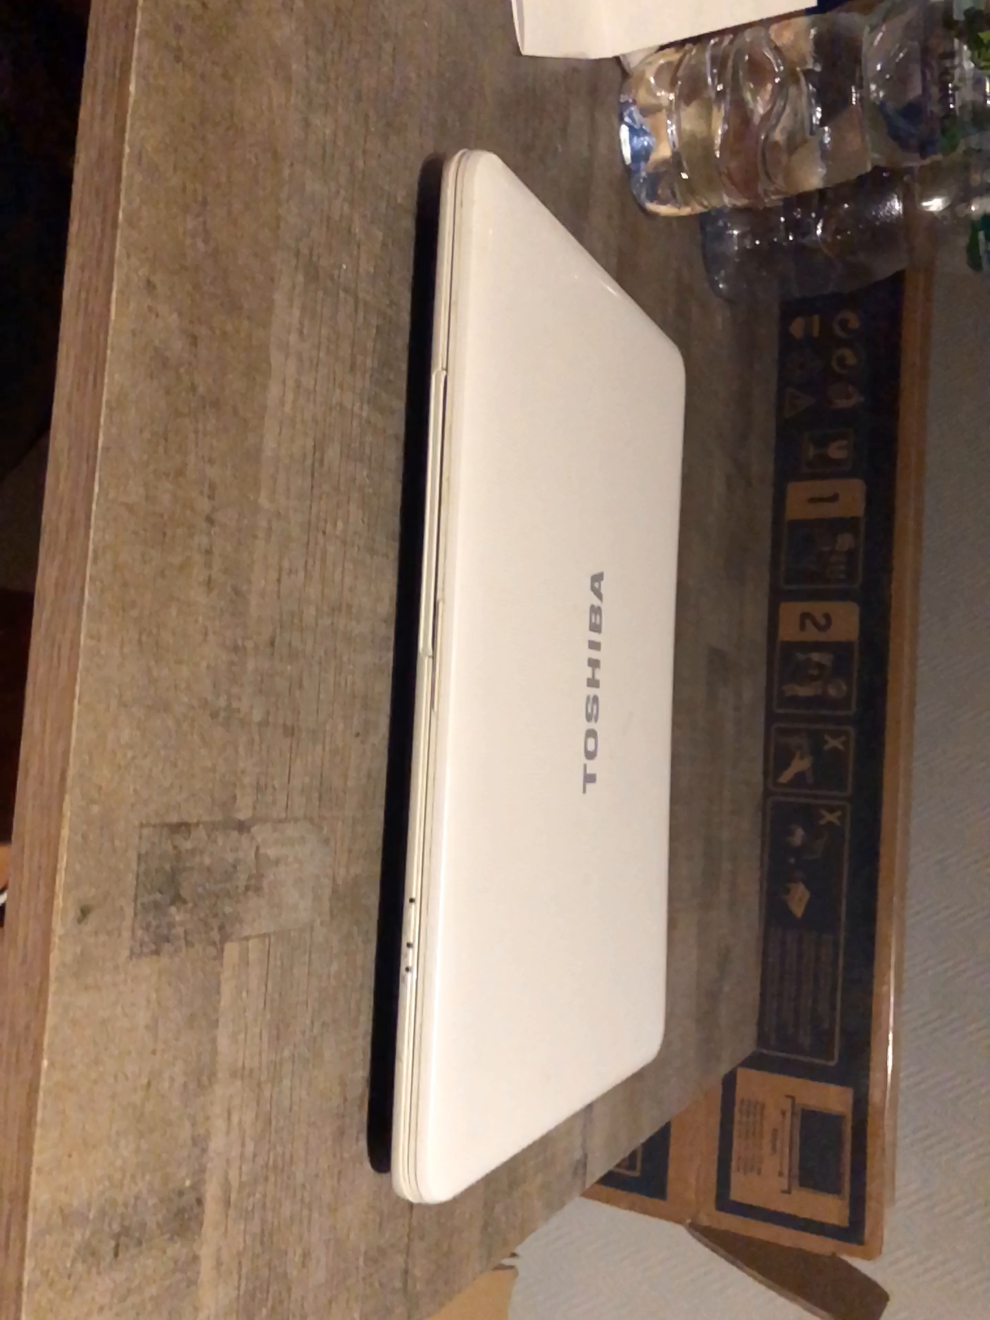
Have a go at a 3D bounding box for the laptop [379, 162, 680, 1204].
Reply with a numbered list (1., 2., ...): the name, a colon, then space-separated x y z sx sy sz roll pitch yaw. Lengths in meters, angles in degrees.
1. laptop: 0.031 0.009 0.497 0.229 0.020 0.375 11 80 -61
